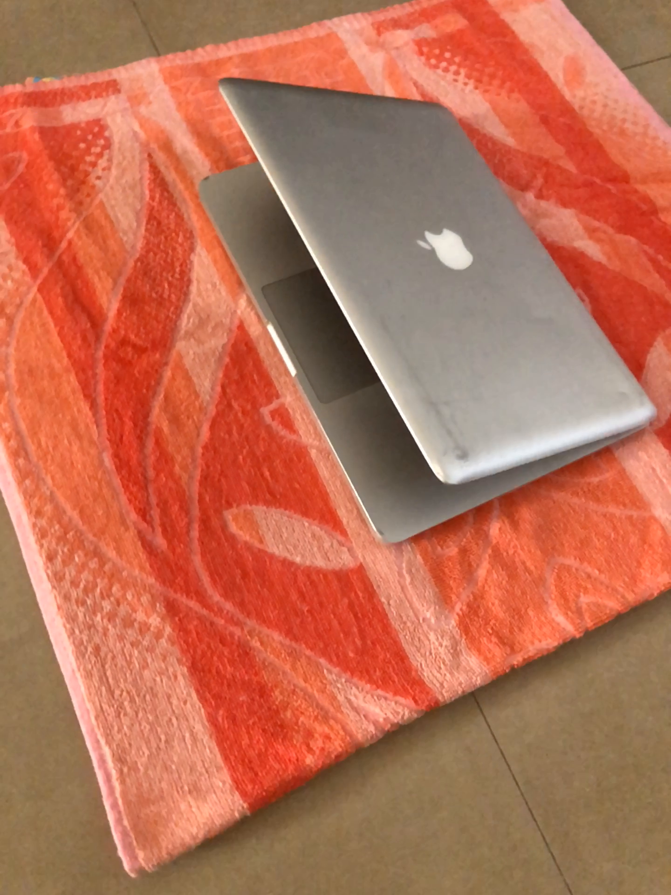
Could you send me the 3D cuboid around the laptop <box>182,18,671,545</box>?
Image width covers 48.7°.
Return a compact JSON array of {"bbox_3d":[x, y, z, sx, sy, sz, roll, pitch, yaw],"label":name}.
[{"bbox_3d":[0.064,-0.127,0.508,0.223,0.087,0.310,-23,72,-16],"label":"laptop"}]
